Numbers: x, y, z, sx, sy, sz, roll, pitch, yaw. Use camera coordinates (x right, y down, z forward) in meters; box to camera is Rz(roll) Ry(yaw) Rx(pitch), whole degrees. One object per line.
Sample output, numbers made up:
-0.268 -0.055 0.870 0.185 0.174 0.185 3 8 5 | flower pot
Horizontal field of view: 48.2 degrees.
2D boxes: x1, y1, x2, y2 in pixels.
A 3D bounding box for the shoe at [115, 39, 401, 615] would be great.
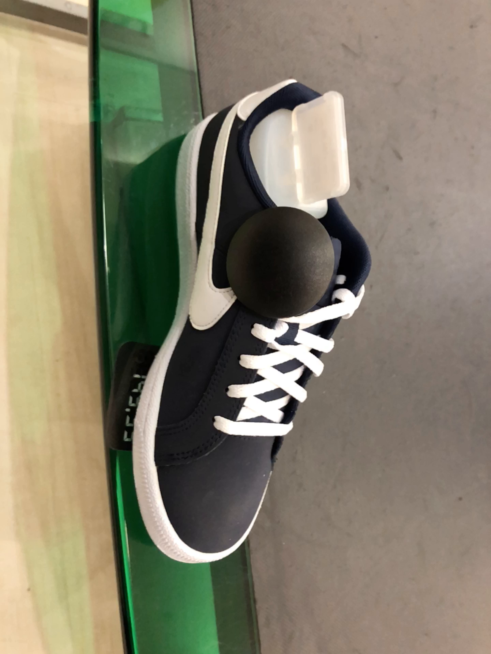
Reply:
0.012 0.001 0.303 0.111 0.089 0.250 11 78 -39 | shoe
